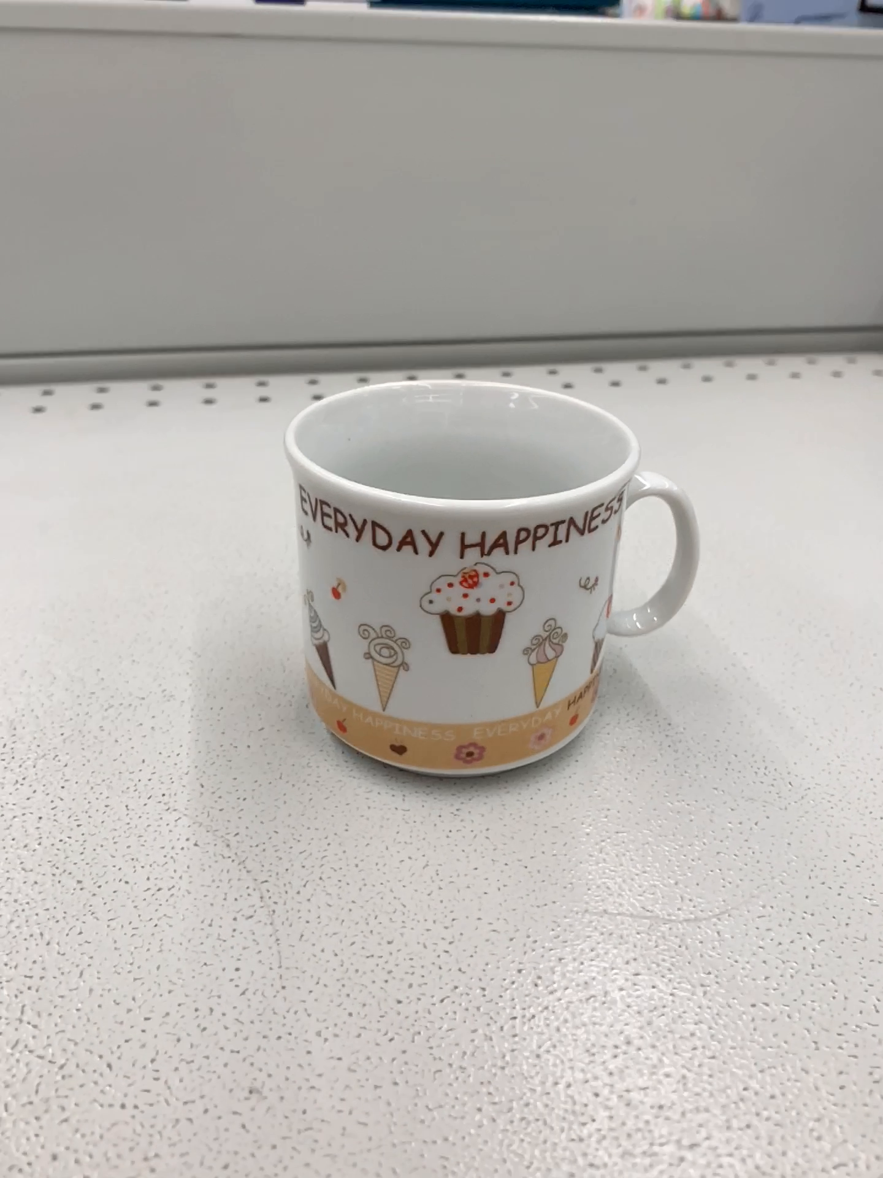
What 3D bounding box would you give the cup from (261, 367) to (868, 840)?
[{"bbox_3d":[0.018,-0.003,0.212,0.108,0.069,0.079,-5,30,-10],"label":"cup"}]
